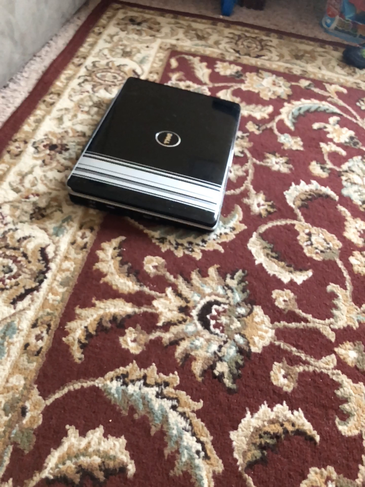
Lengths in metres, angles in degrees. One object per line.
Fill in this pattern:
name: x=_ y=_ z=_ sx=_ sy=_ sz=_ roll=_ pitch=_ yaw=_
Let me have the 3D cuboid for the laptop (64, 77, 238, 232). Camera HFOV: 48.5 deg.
laptop: x=-0.035 y=-0.186 z=0.755 sx=0.242 sy=0.015 sz=0.351 roll=15 pitch=51 yaw=0
